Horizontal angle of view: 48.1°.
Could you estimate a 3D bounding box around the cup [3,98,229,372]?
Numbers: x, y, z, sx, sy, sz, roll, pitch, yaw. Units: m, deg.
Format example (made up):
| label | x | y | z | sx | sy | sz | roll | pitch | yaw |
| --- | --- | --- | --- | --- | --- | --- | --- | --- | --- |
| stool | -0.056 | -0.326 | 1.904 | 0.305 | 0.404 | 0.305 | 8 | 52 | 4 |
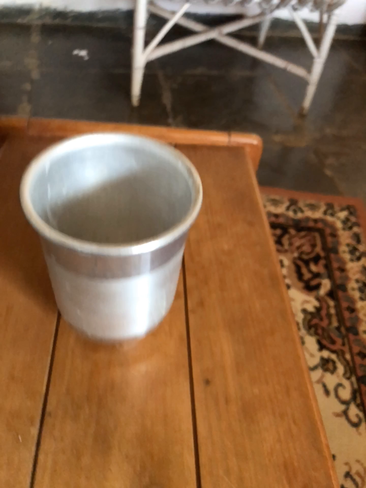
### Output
| label | x | y | z | sx | sy | sz | roll | pitch | yaw |
| --- | --- | --- | --- | --- | --- | --- | --- | --- | --- |
| cup | -0.038 | -0.001 | 0.271 | 0.100 | 0.129 | 0.121 | 3 | 49 | -7 |
